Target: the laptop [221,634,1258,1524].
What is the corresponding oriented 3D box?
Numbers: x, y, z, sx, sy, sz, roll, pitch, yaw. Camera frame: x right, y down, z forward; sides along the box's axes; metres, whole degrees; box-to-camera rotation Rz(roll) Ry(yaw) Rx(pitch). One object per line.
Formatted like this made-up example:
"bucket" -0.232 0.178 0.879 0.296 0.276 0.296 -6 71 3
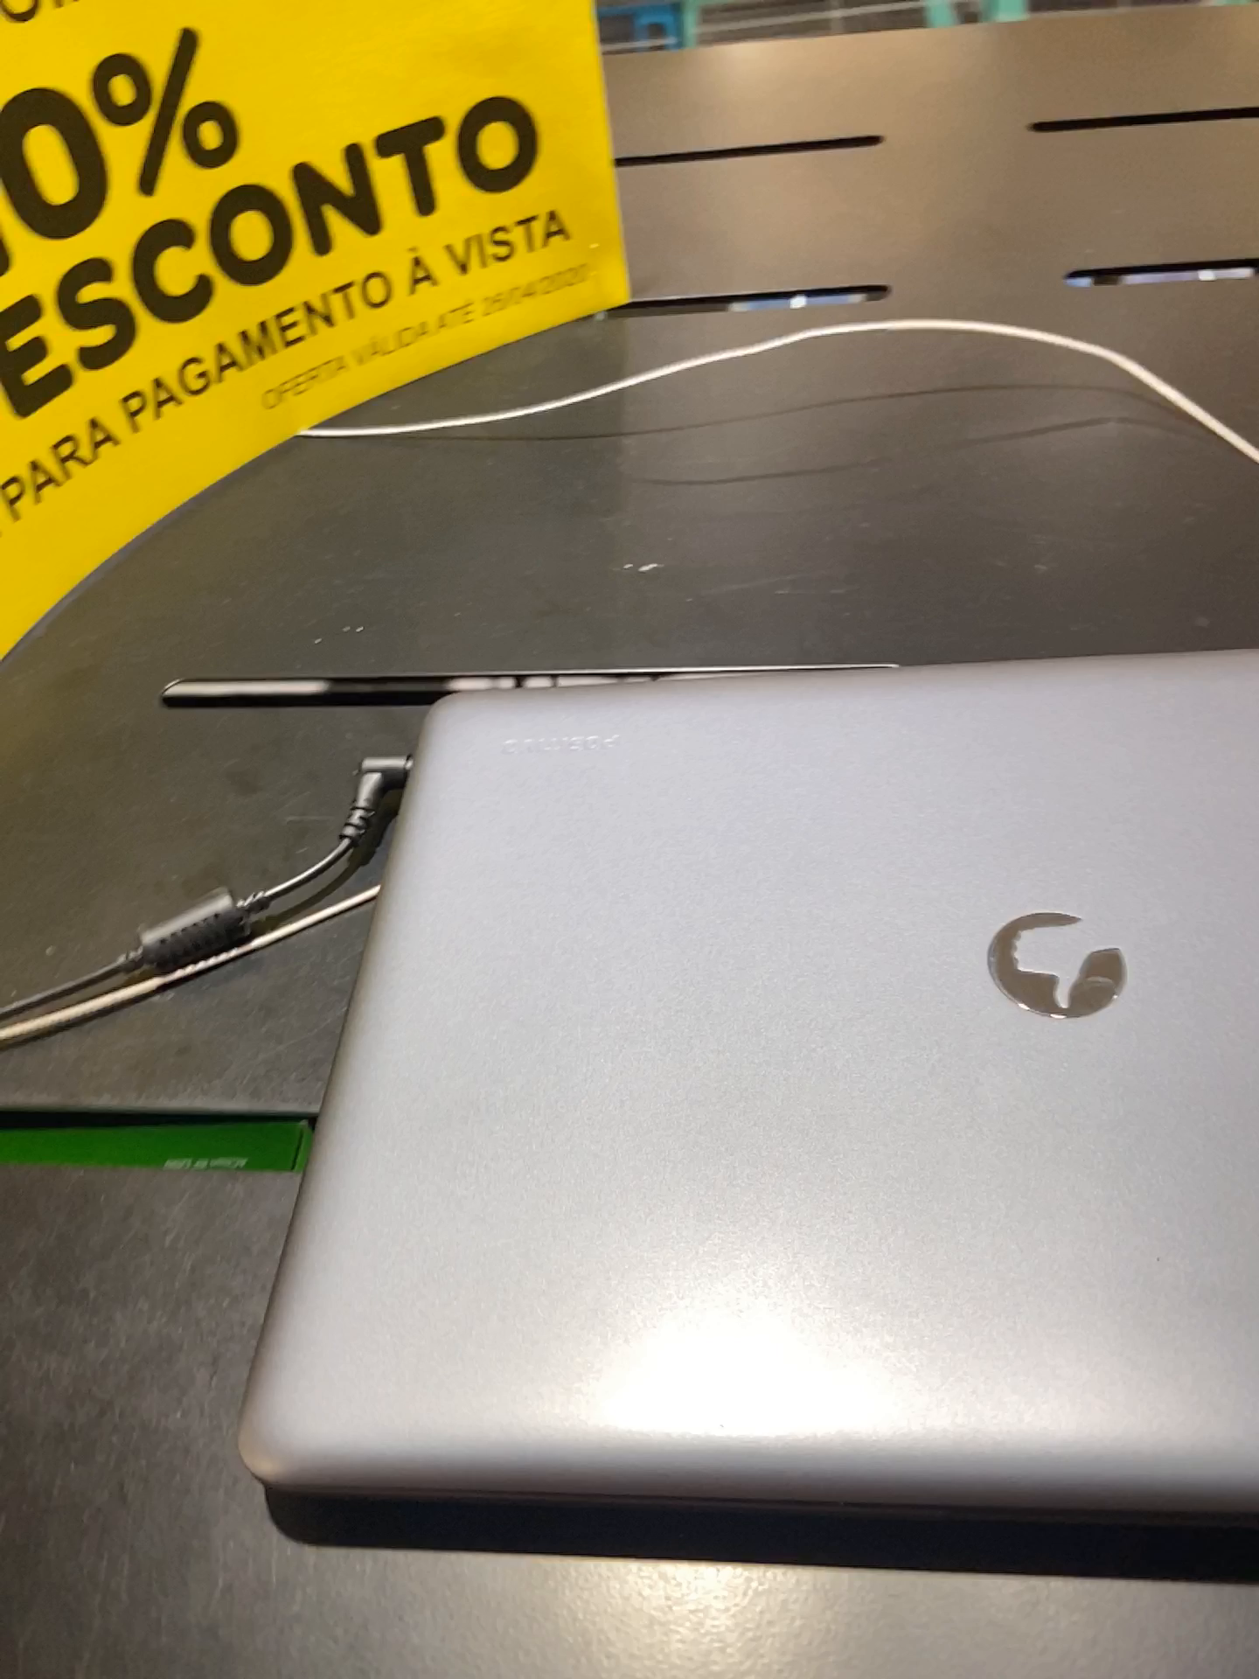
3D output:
"laptop" 0.095 0.031 0.292 0.329 0.001 0.214 -2 47 8
